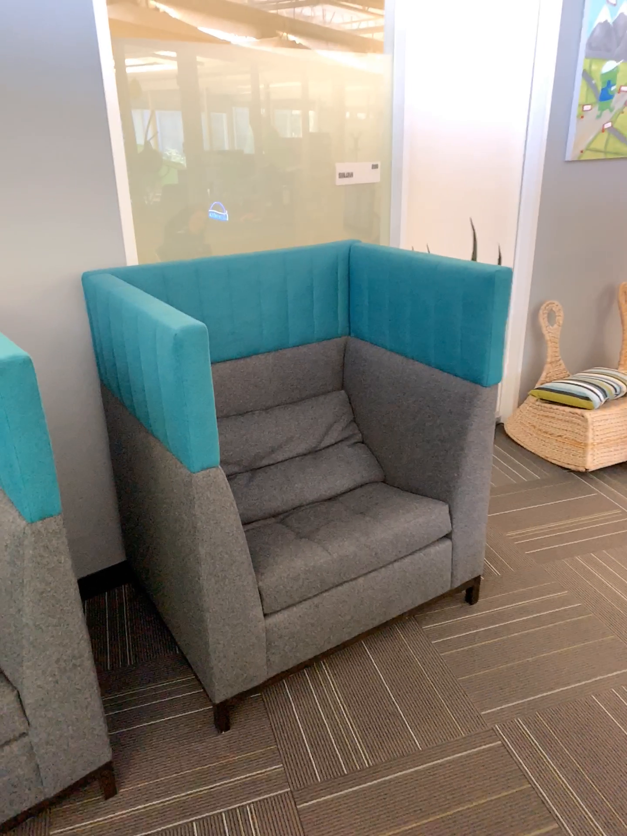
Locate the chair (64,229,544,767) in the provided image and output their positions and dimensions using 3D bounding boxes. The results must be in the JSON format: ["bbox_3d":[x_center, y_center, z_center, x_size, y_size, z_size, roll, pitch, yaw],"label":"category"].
[{"bbox_3d":[-0.066,0.093,2.134,1.050,1.214,1.015,-15,27,-30],"label":"chair"}]
